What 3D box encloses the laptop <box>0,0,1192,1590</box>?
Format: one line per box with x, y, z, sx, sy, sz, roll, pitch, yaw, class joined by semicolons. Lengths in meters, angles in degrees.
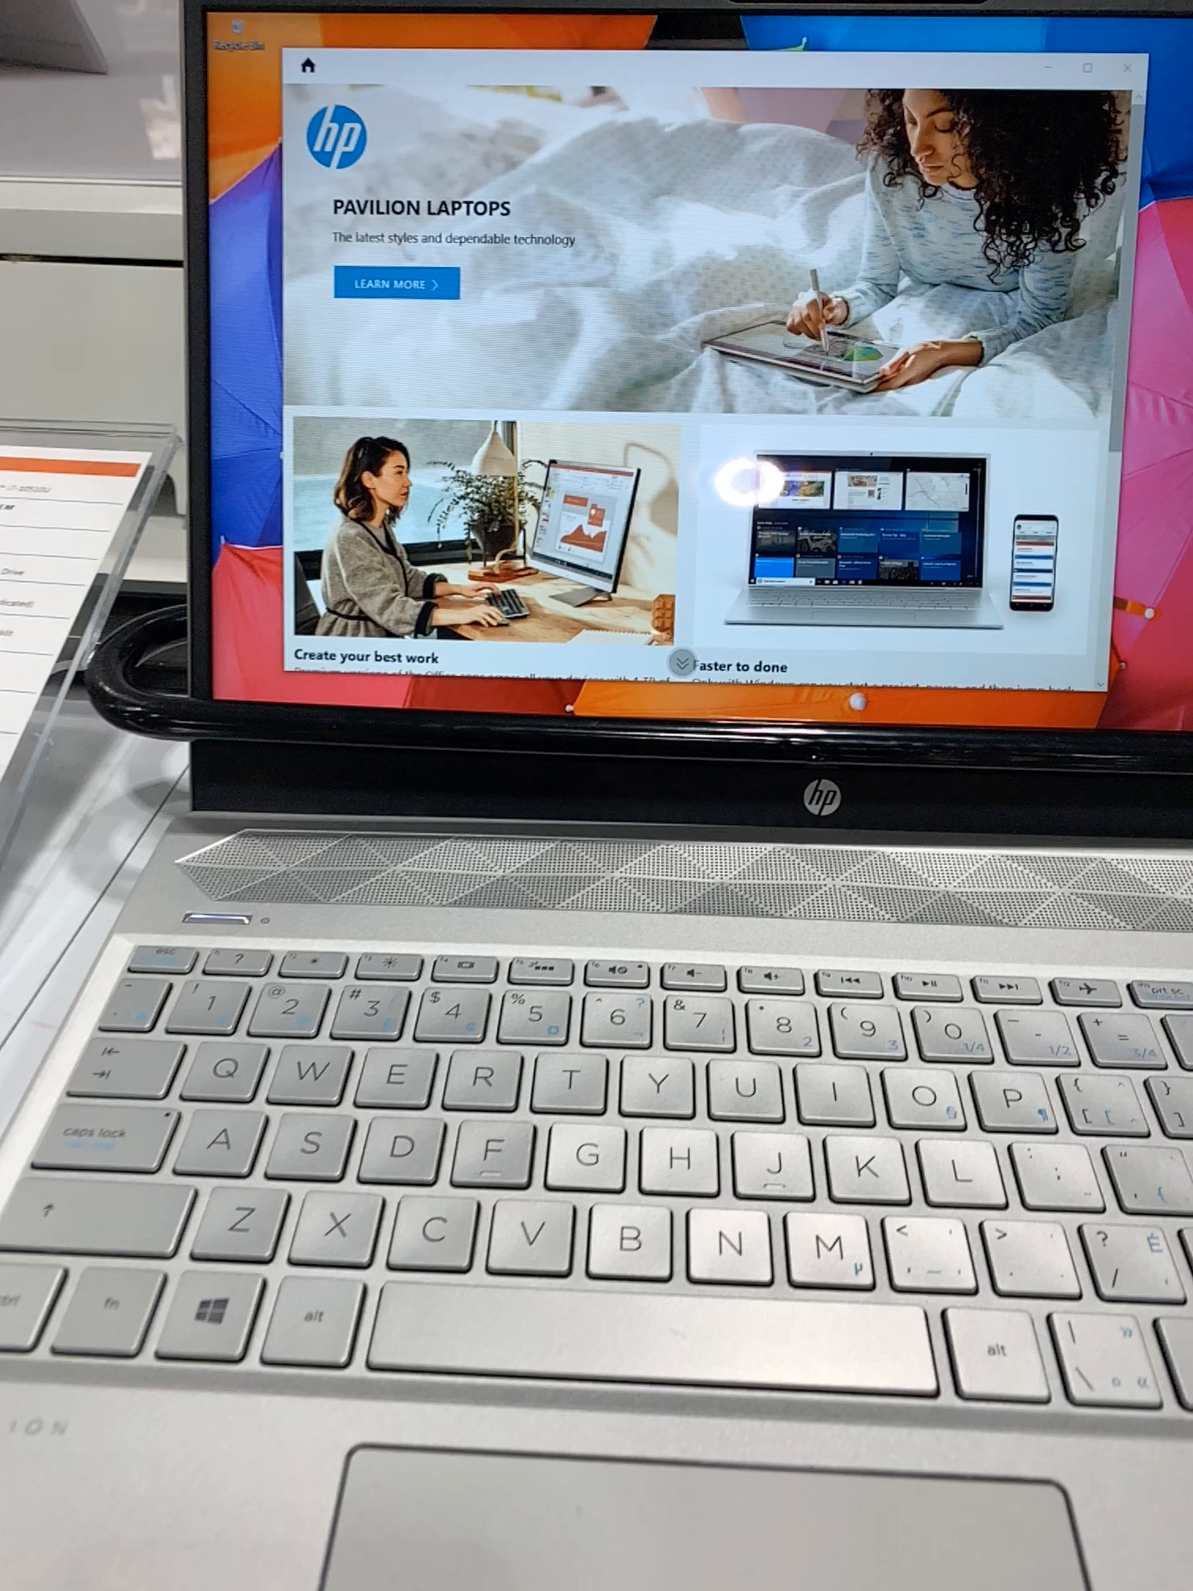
0.057;-0.032;0.218;0.332;0.175;0.335;1;37;2;laptop
